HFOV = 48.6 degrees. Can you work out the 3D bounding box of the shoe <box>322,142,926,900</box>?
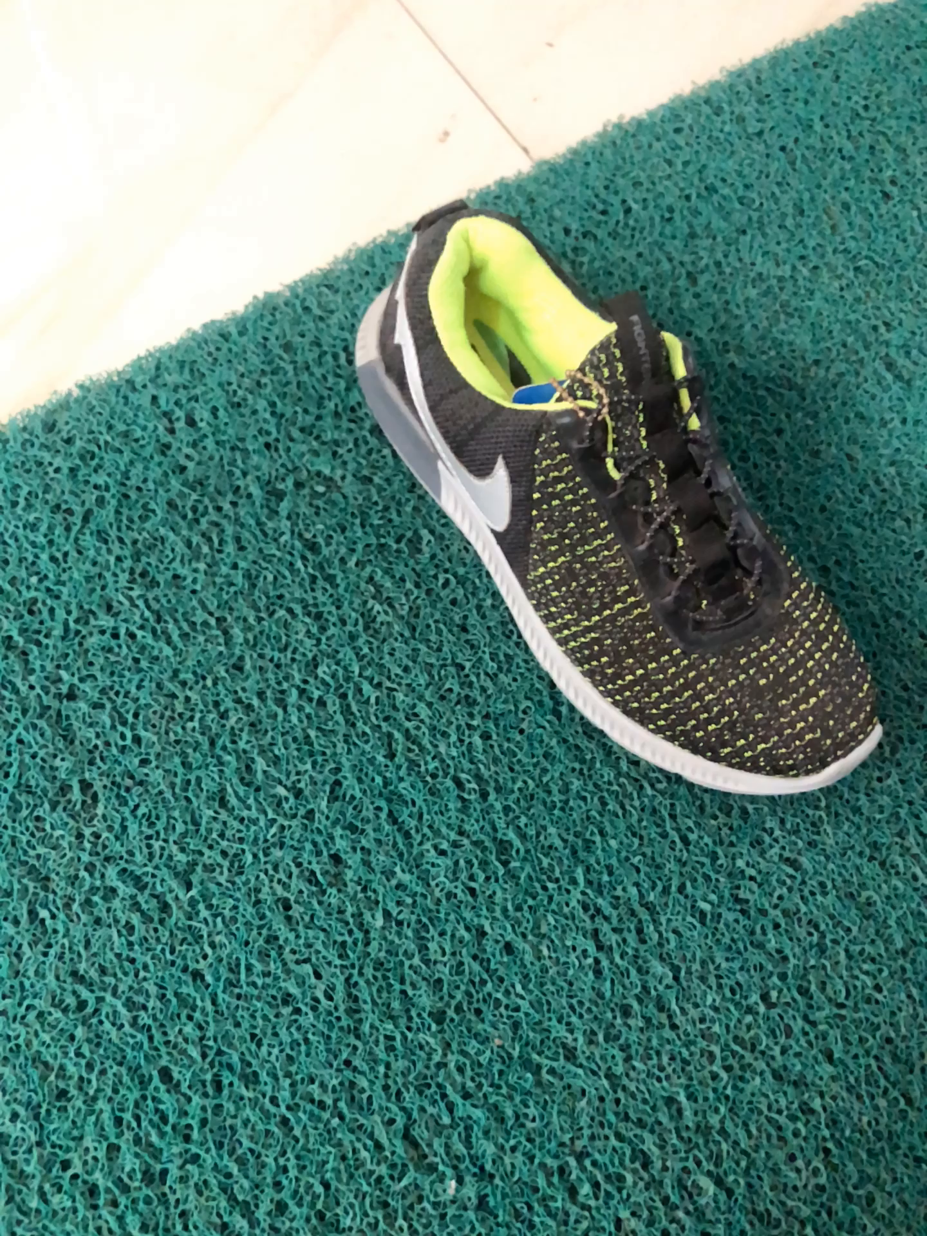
[{"bbox_3d":[0.067,-0.040,0.402,0.110,0.090,0.270,-33,76,-18],"label":"shoe"}]
